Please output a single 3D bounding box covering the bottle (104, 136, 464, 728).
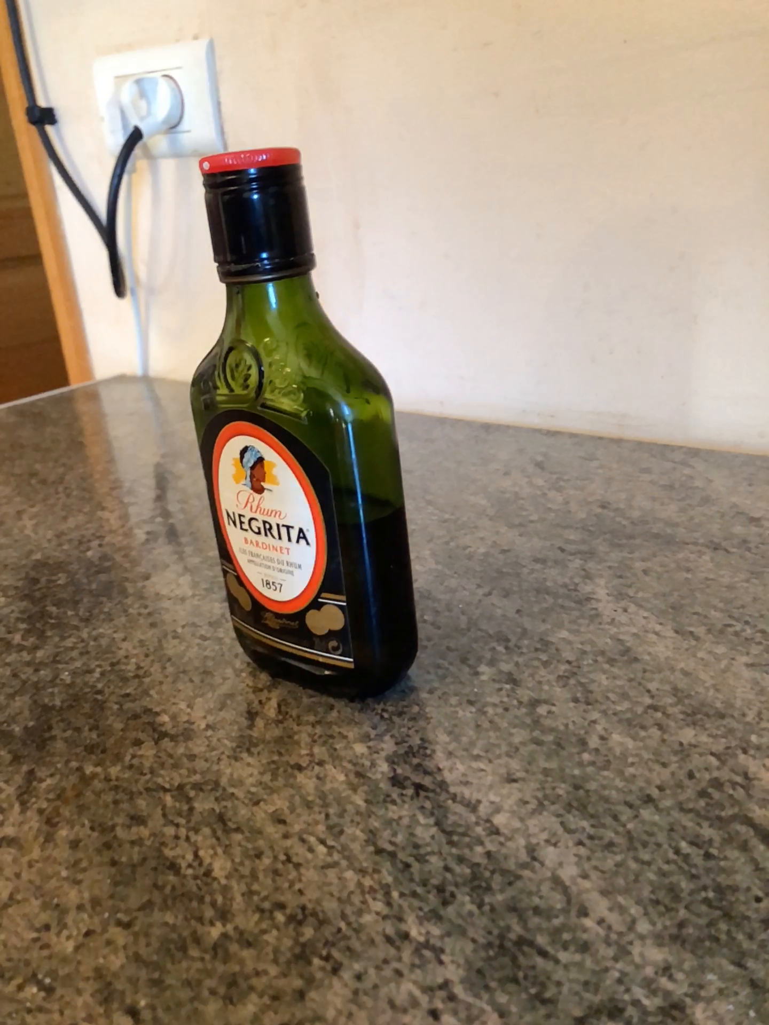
[{"bbox_3d":[-0.027,-0.026,0.265,0.080,0.159,0.050,11,26,38],"label":"bottle"}]
